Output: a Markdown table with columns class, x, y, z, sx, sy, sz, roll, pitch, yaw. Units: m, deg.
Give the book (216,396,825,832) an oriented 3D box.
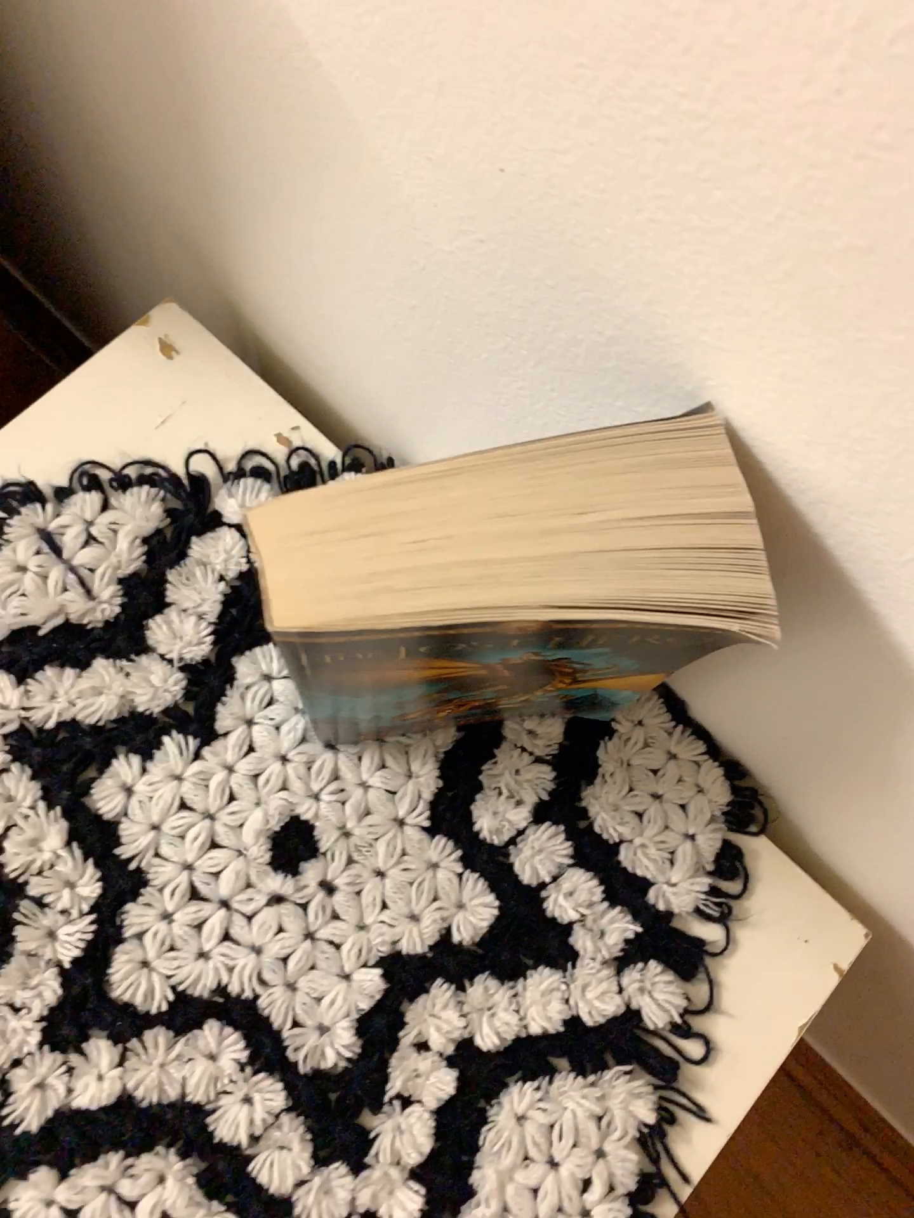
| class | x | y | z | sx | sy | sz | roll | pitch | yaw |
| --- | --- | --- | --- | --- | --- | --- | --- | --- | --- |
| book | 0.009 | 0.016 | 0.319 | 0.142 | 0.177 | 0.068 | -10 | 71 | -8 |
